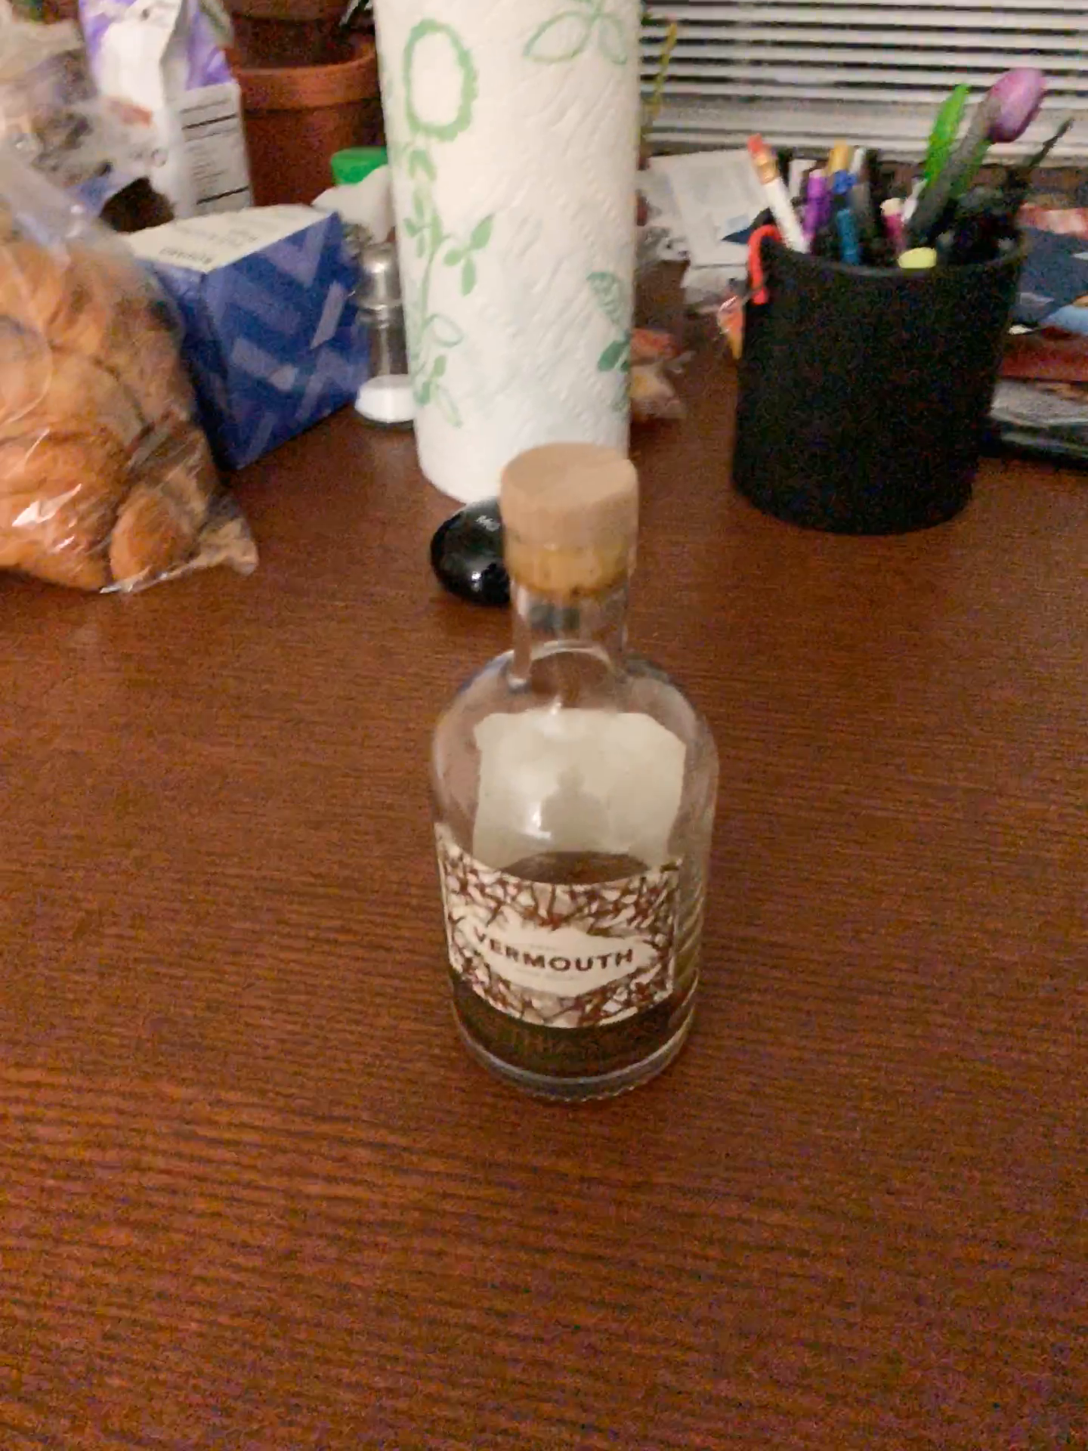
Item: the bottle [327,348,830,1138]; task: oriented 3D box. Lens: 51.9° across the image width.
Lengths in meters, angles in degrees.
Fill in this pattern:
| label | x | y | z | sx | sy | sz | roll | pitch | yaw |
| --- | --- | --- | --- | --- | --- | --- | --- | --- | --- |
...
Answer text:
| label | x | y | z | sx | sy | sz | roll | pitch | yaw |
| --- | --- | --- | --- | --- | --- | --- | --- | --- | --- |
| bottle | 0.012 | 0.013 | 0.289 | 0.090 | 0.189 | 0.080 | 5 | 40 | 8 |
